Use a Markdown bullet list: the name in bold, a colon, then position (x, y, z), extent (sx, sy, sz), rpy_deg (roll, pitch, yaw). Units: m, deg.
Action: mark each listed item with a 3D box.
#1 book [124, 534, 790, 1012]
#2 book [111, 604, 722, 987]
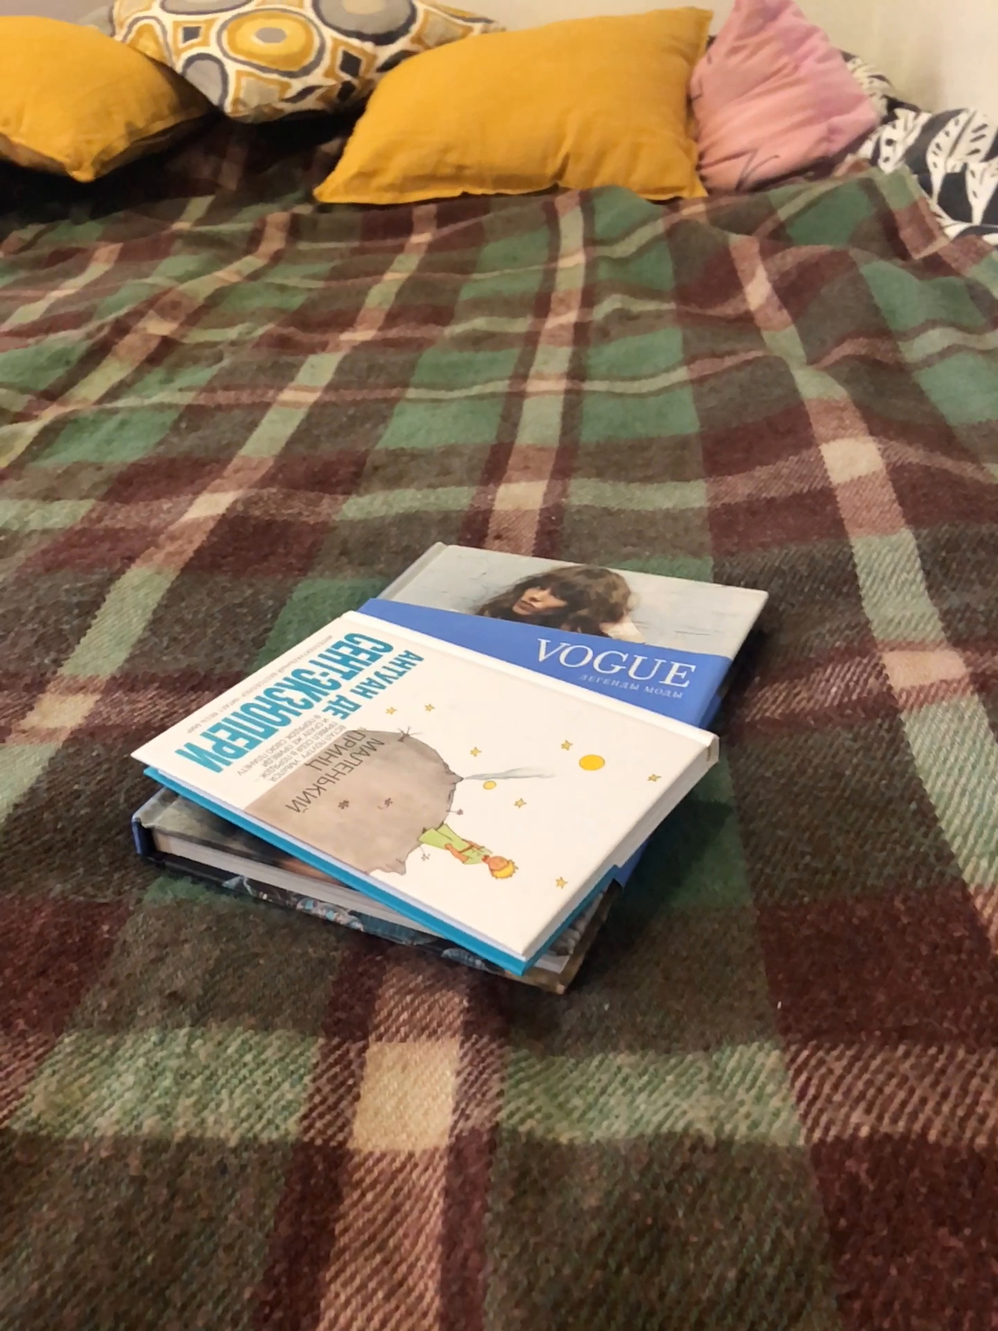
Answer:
- **book**: position (0.001, 0.018, 0.448), extent (0.174, 0.023, 0.241), rpy_deg (12, 35, 24)
- **book**: position (-0.029, 0.030, 0.378), extent (0.170, 0.014, 0.120), rpy_deg (19, 38, 32)
